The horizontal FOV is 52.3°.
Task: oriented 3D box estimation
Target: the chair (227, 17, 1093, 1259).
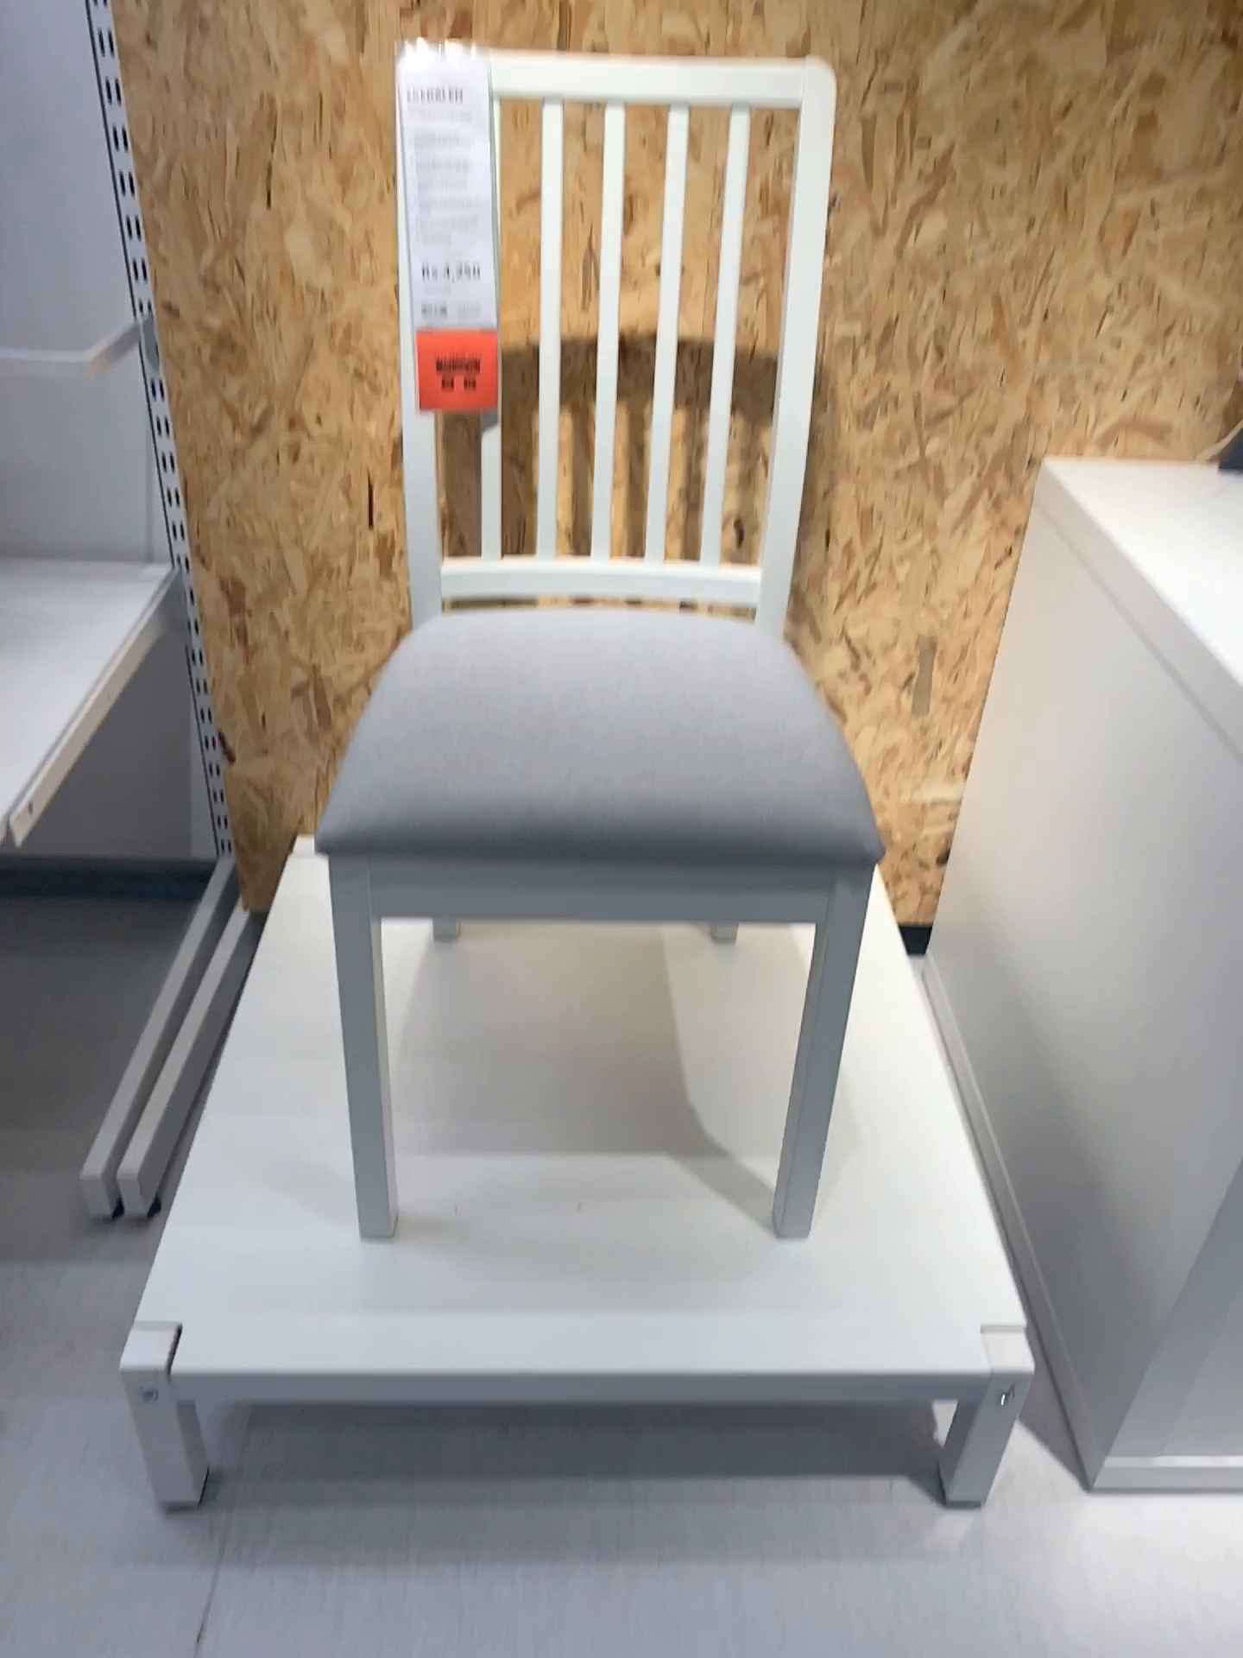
[{"bbox_3d":[-0.003,-0.136,1.125,0.450,0.955,0.493,2,34,-2],"label":"chair"}]
